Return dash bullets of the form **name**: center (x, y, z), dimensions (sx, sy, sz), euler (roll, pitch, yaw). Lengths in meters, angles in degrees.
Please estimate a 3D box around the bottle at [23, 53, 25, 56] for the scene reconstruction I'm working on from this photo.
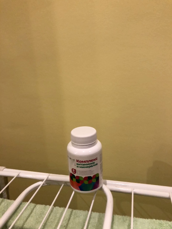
- **bottle**: center (-4.727, -4.574, 14.411), dimensions (0.076, 0.257, 0.076), euler (-2, 16, 1)
